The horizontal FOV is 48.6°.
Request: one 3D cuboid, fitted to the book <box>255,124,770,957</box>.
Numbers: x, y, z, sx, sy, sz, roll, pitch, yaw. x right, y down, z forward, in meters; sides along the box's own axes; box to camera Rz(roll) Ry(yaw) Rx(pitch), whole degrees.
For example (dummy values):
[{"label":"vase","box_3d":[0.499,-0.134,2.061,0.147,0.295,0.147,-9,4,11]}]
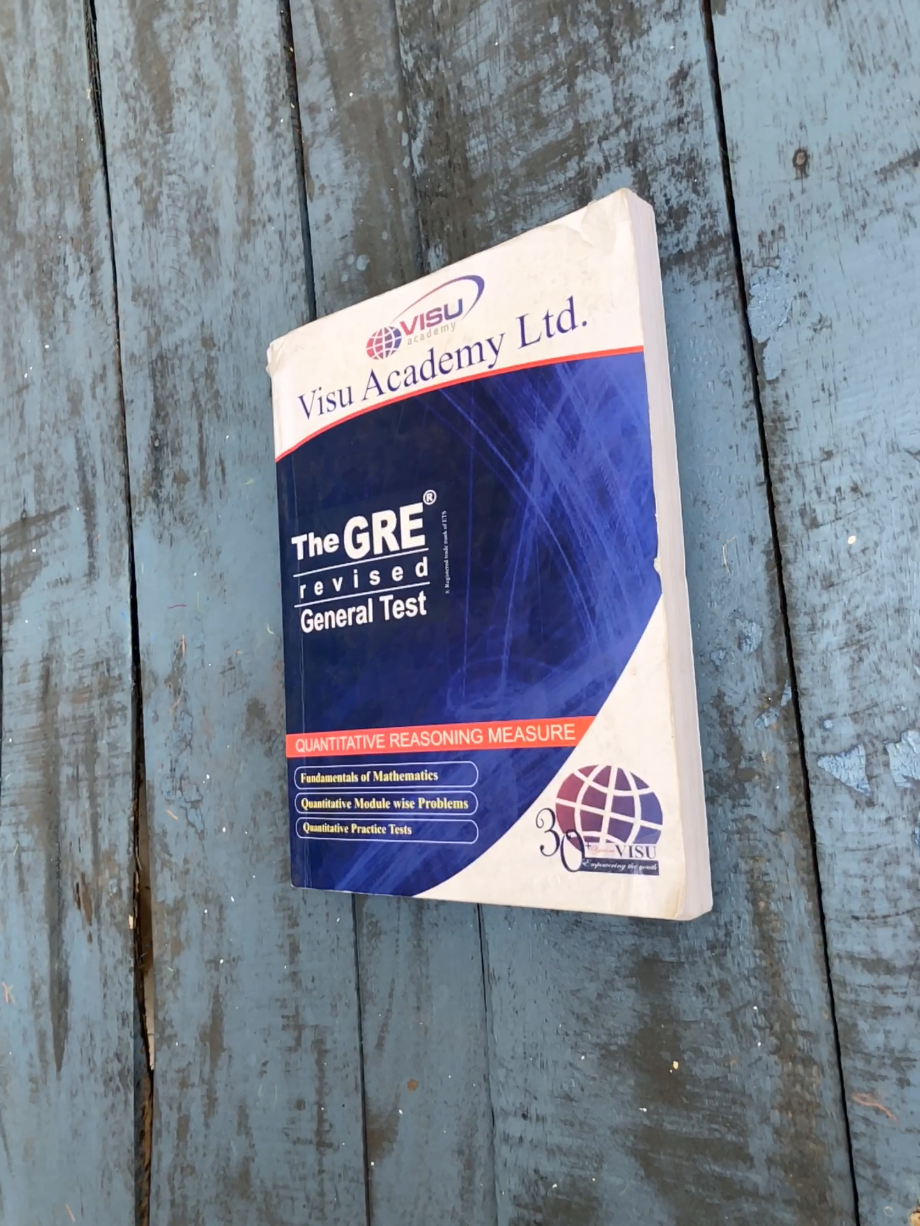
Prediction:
[{"label":"book","box_3d":[0.006,-0.018,0.441,0.221,0.060,0.290,-8,80,40]}]
